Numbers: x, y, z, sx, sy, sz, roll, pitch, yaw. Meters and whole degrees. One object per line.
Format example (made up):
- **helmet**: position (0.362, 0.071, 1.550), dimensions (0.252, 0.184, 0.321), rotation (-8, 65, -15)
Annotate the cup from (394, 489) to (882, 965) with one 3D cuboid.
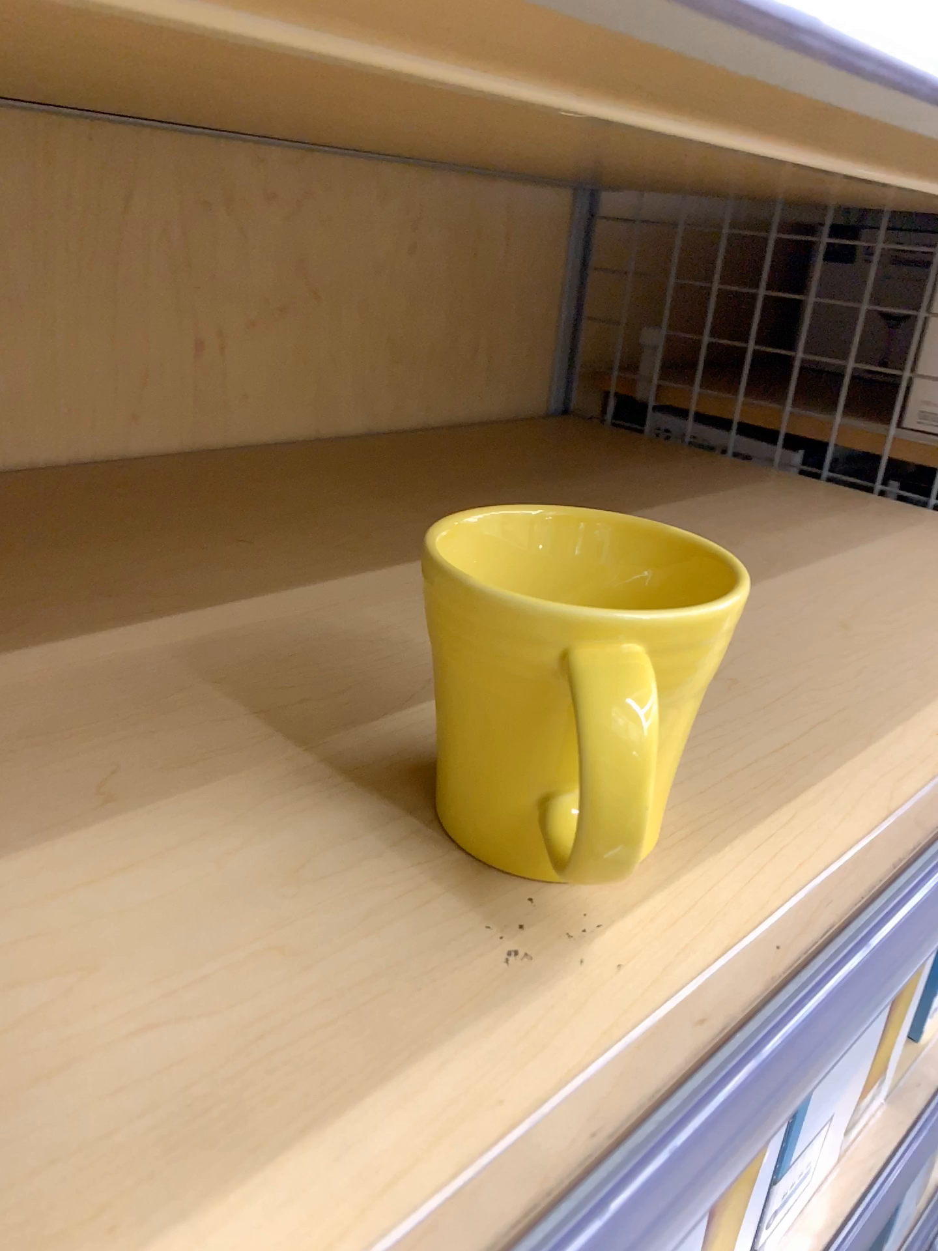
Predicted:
- **cup**: position (0.035, 0.021, 0.304), dimensions (0.103, 0.088, 0.140), rotation (2, 23, -9)
